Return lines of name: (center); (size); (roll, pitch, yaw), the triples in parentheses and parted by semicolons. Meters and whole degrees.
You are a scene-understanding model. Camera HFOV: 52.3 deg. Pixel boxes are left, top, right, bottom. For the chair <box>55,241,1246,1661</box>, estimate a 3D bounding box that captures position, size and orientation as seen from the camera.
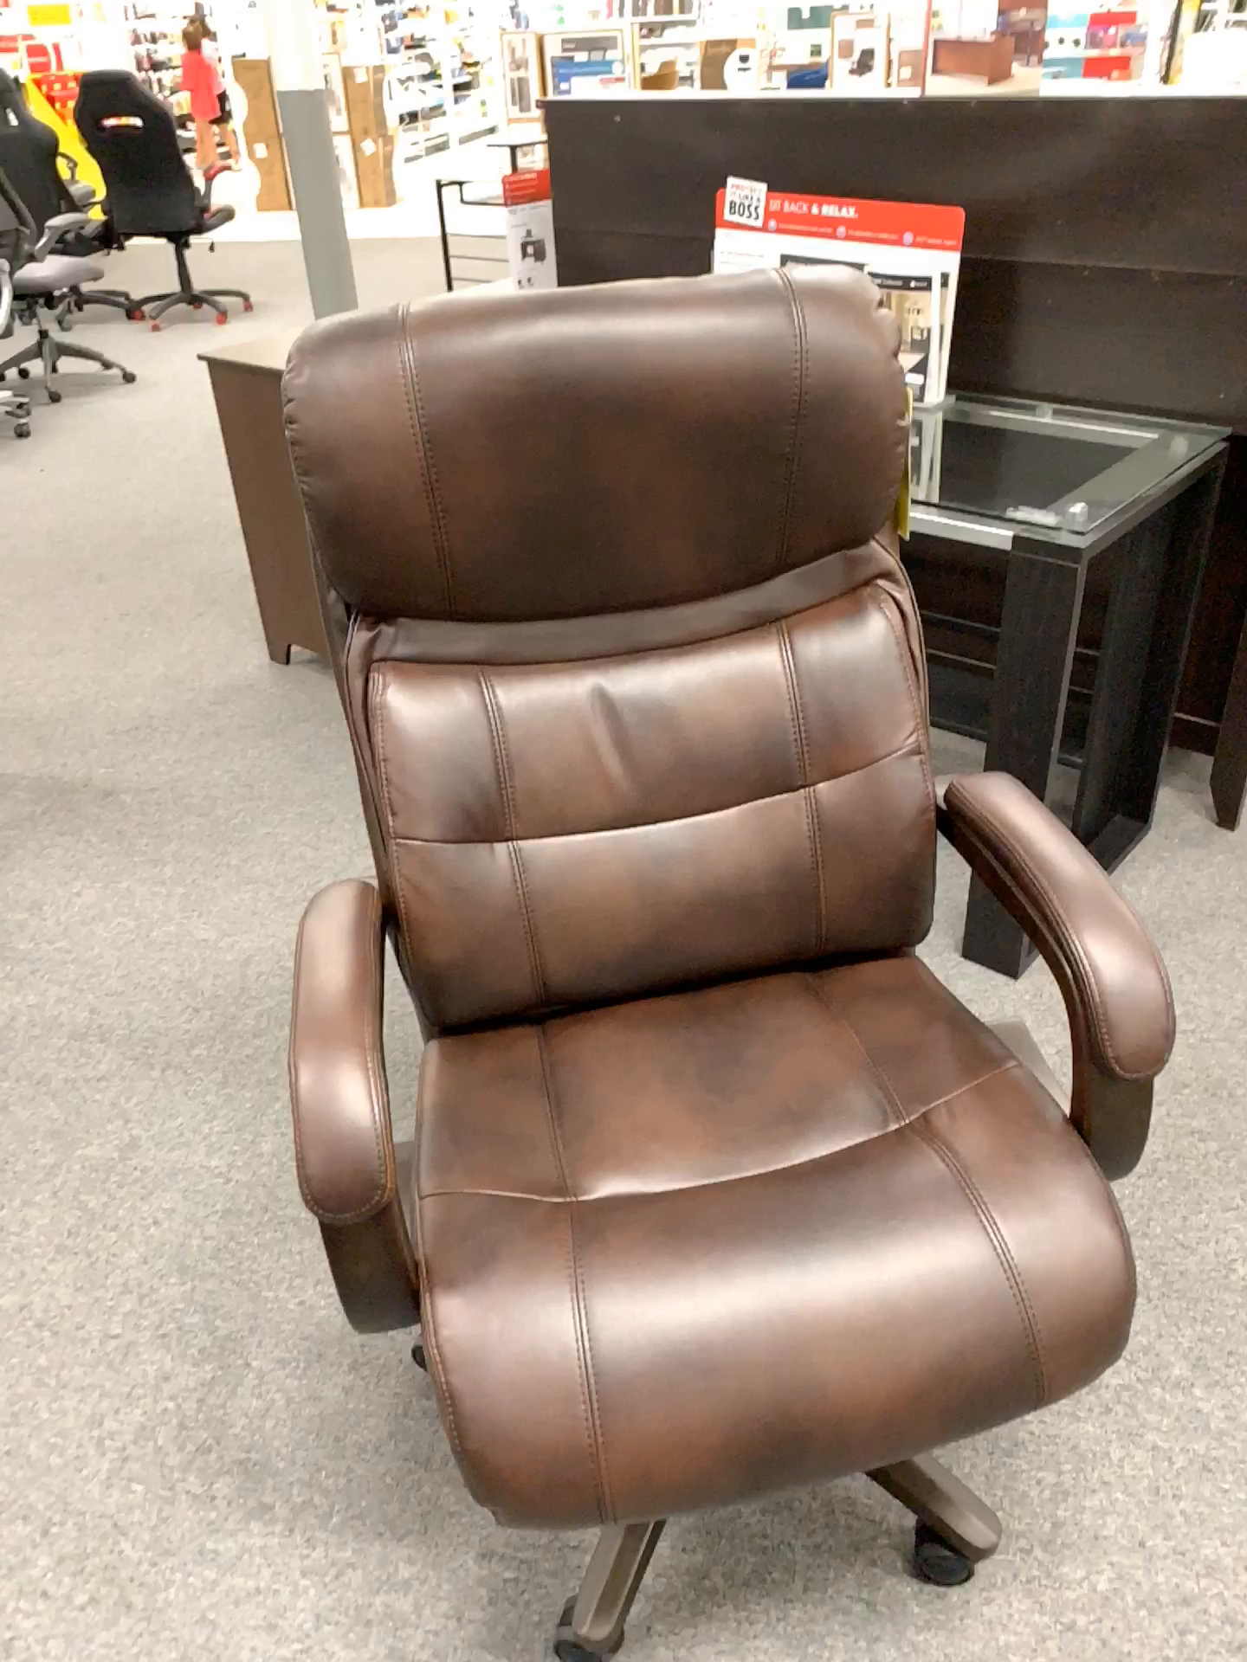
chair: (0.064, 0.136, 1.157); (0.710, 1.094, 0.704); (-9, 33, -9)
